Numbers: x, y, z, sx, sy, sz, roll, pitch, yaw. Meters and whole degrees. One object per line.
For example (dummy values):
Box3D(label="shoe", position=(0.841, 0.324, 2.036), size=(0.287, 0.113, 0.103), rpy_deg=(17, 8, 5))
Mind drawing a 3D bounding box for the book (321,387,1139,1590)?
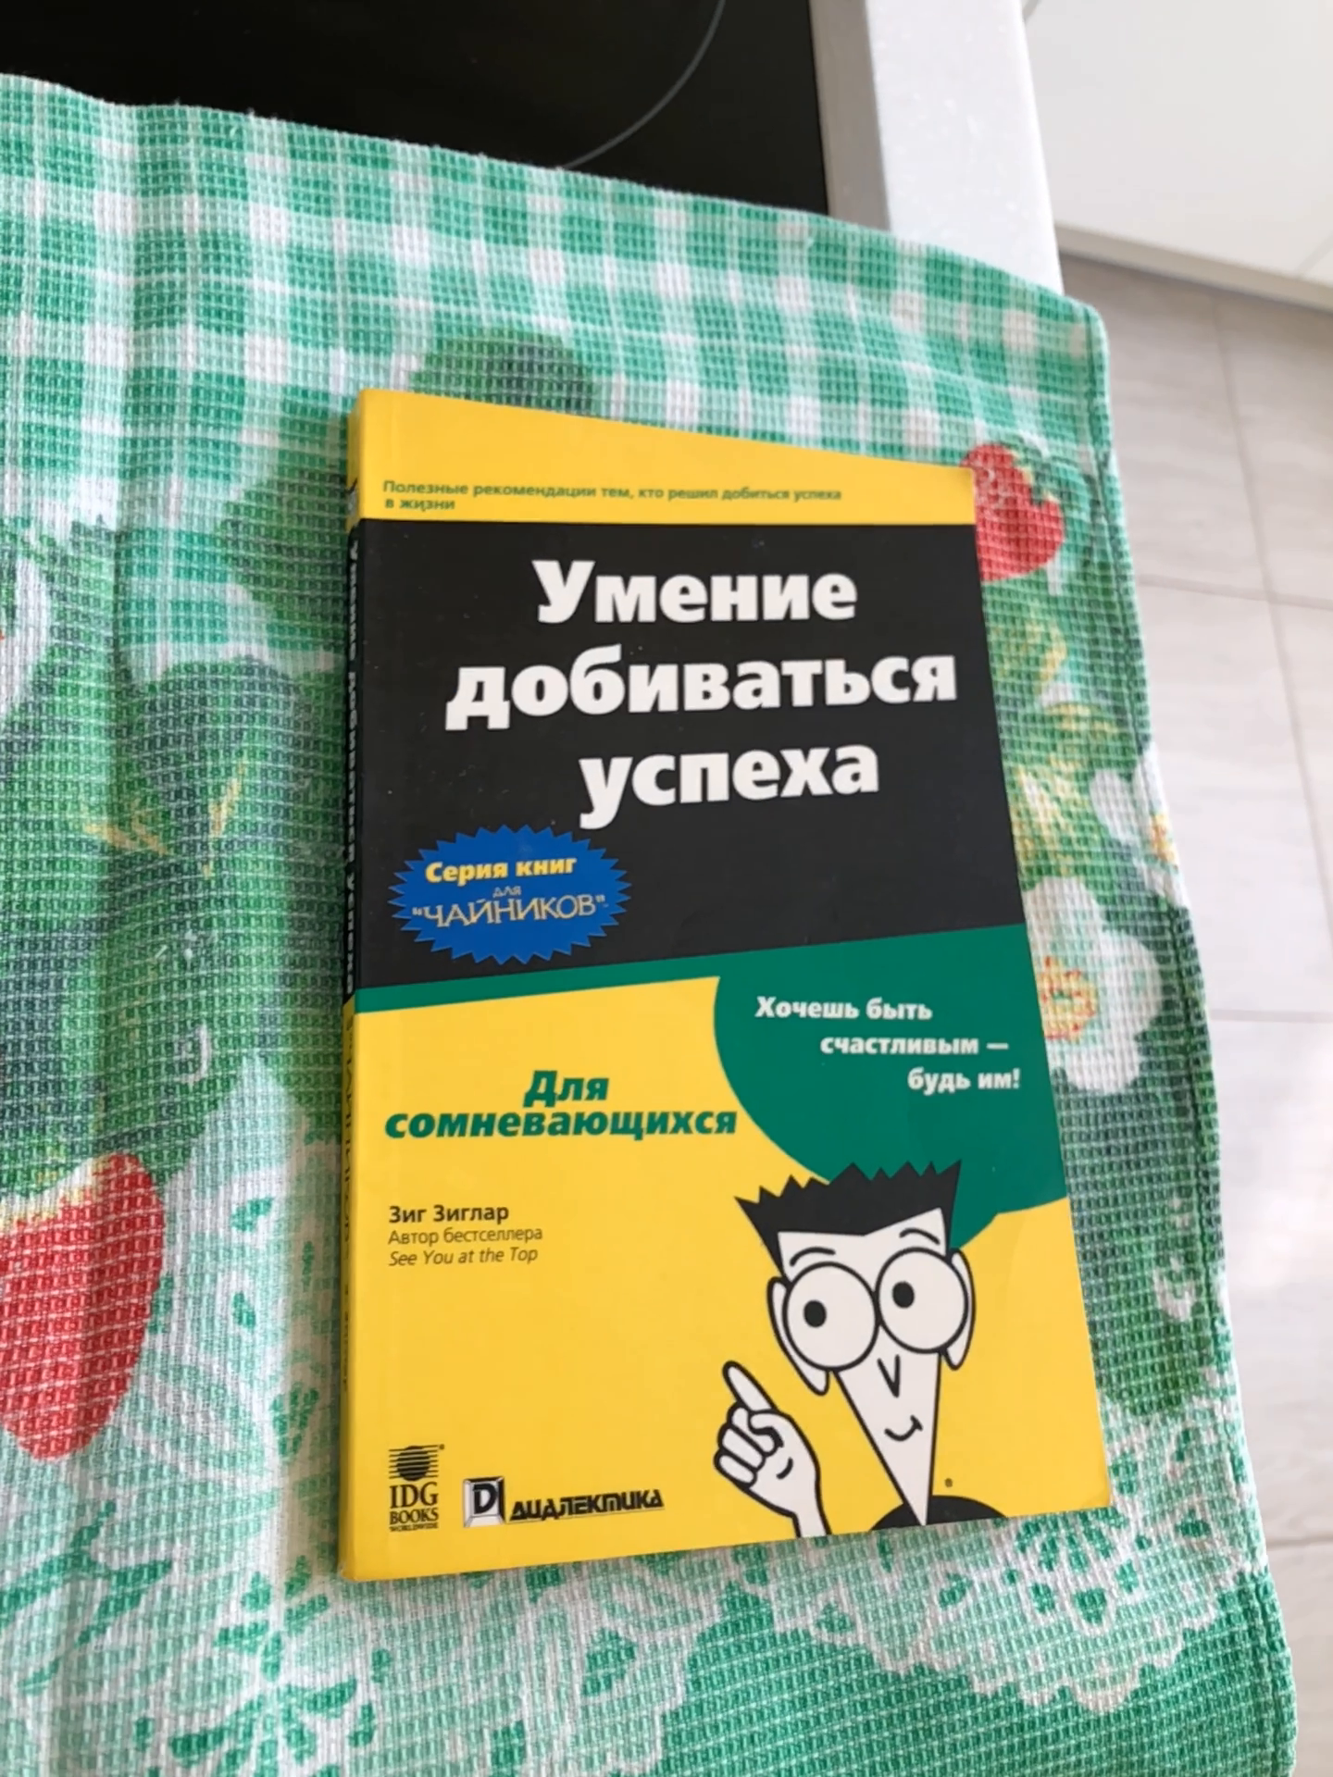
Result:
Box3D(label="book", position=(0.006, 0.008, 0.230), size=(0.113, 0.017, 0.172), rpy_deg=(2, 72, -16))
